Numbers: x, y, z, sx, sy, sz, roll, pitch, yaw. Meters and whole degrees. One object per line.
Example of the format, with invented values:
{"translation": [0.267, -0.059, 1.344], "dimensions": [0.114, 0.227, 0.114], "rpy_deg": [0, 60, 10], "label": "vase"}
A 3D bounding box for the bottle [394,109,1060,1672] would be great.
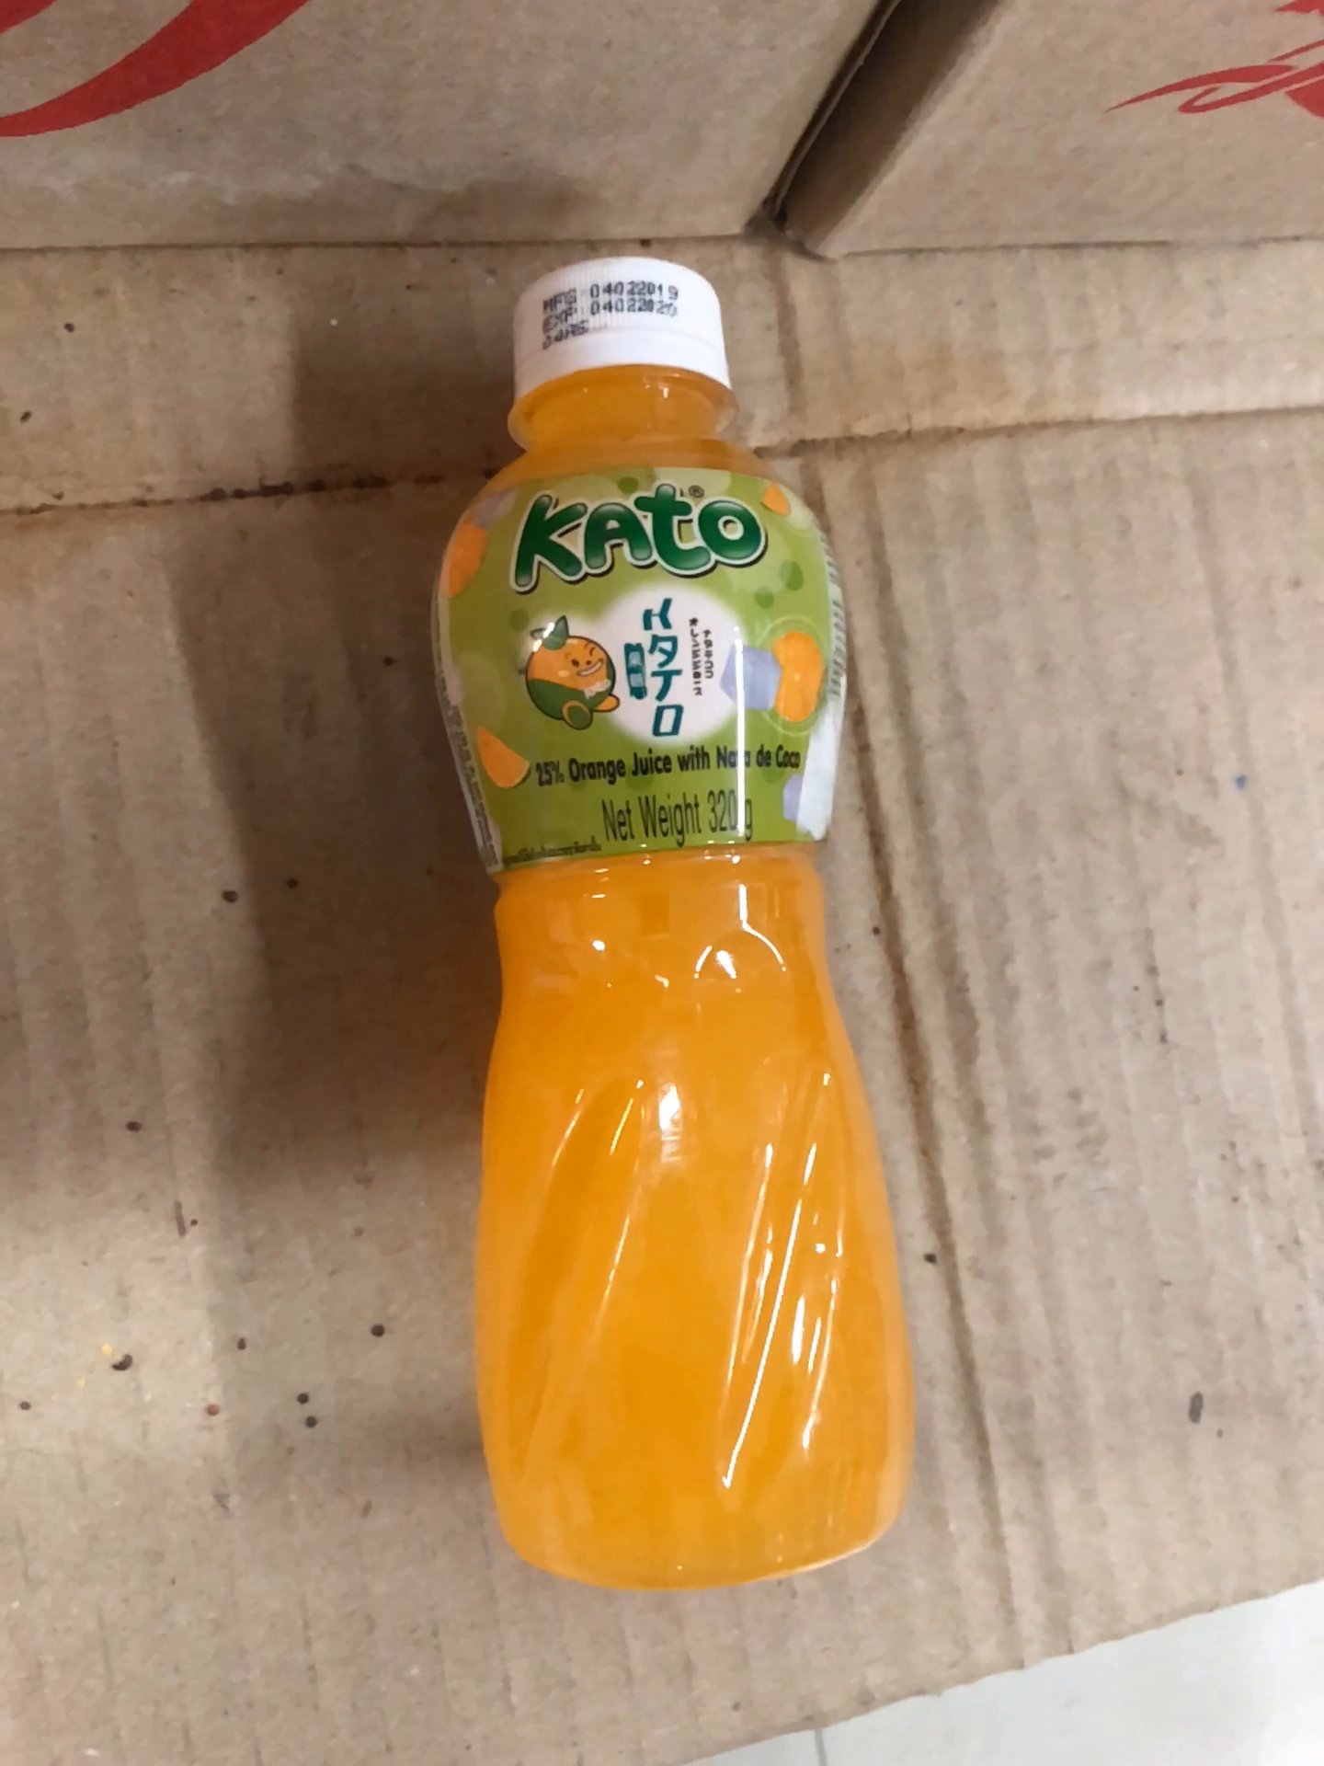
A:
{"translation": [0.003, -0.002, 0.216], "dimensions": [0.070, 0.060, 0.190], "rpy_deg": [-3, 86, -12], "label": "bottle"}
